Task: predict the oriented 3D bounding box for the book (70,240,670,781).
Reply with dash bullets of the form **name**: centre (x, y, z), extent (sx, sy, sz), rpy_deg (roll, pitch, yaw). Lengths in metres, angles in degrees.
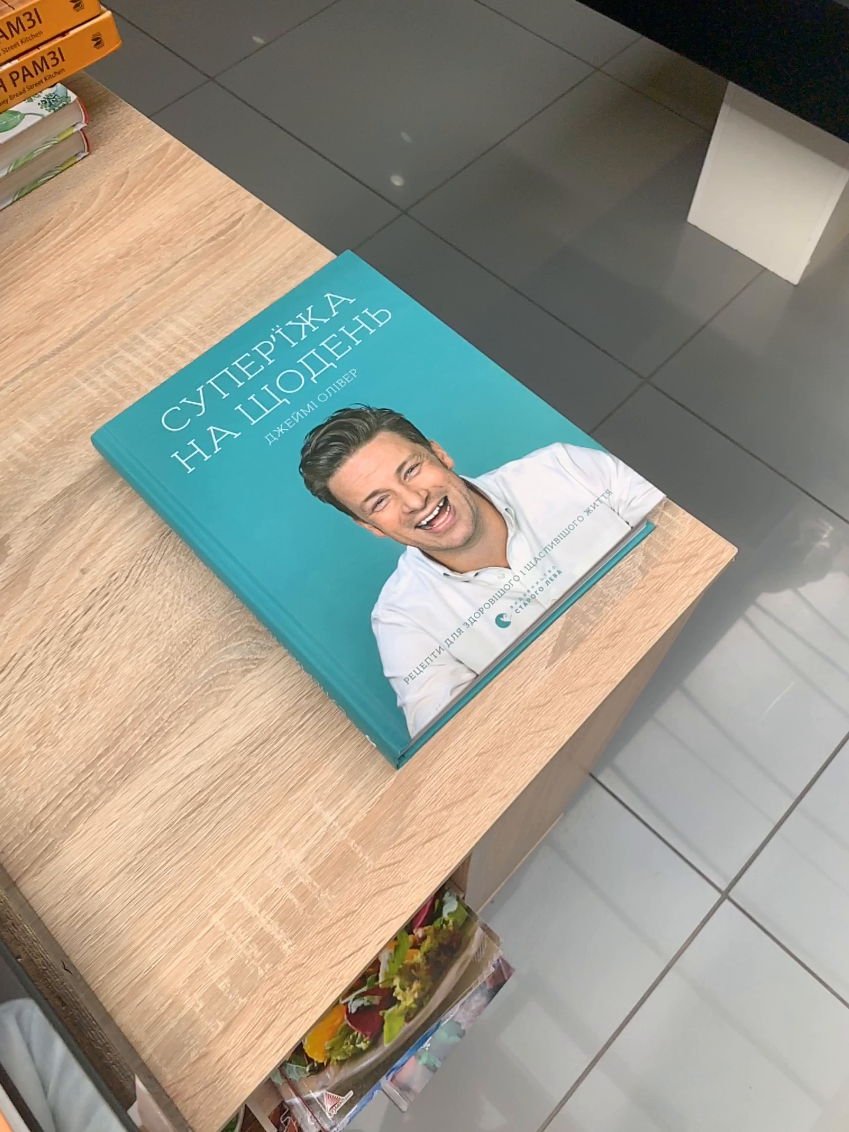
- **book**: centre (-0.034, -0.048, 0.476), extent (0.200, 0.030, 0.255), rpy_deg (-41, 69, -16)
